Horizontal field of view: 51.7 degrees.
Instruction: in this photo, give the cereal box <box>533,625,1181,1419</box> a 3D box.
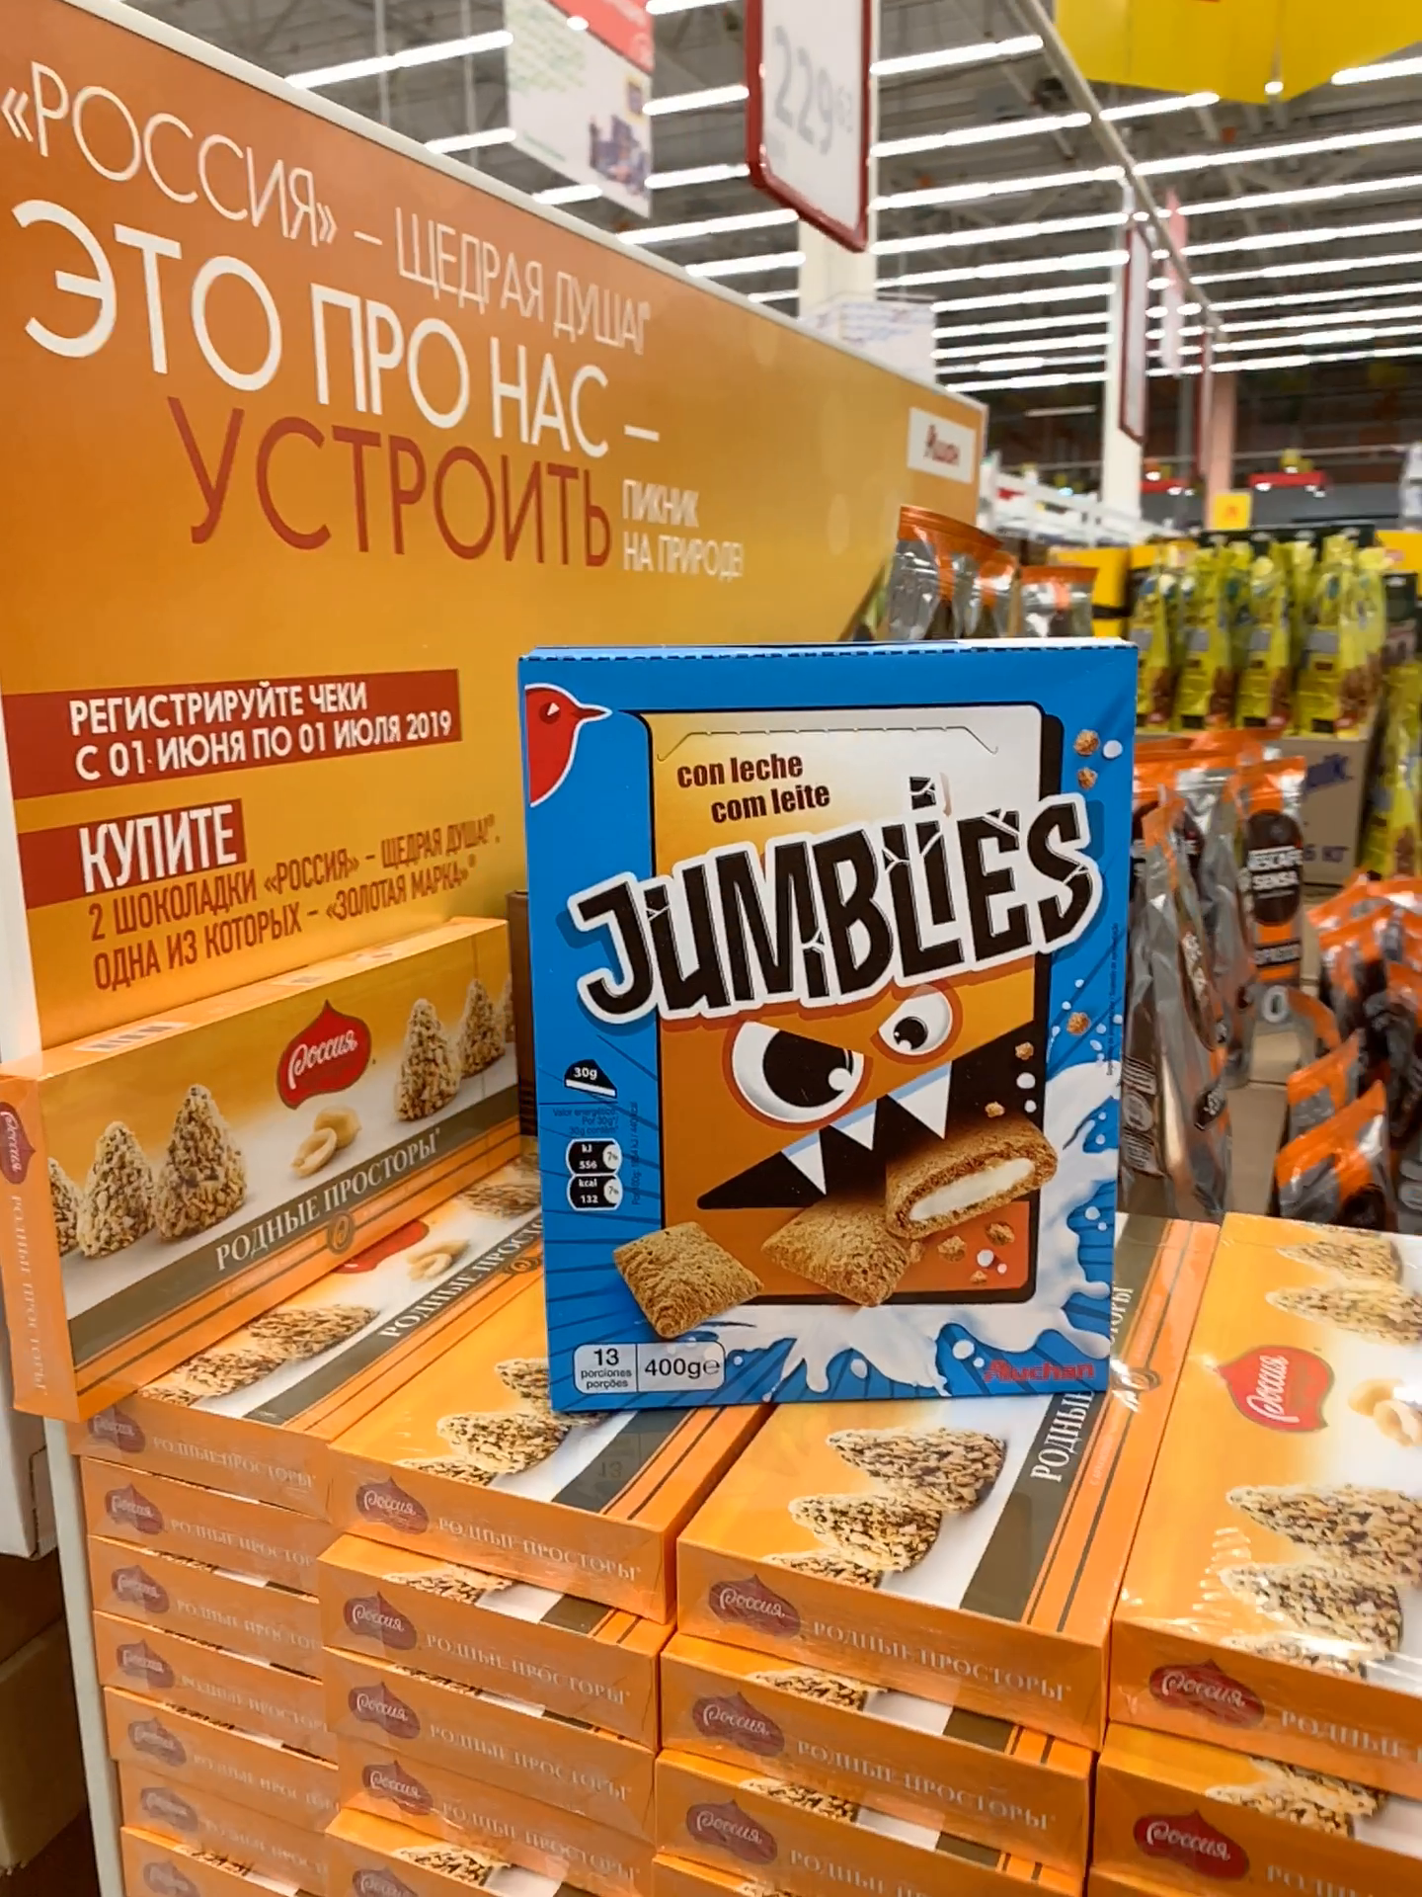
[{"bbox_3d":[0.047,0.024,0.505,0.200,0.259,0.060,-2,11,-2],"label":"cereal box"}]
